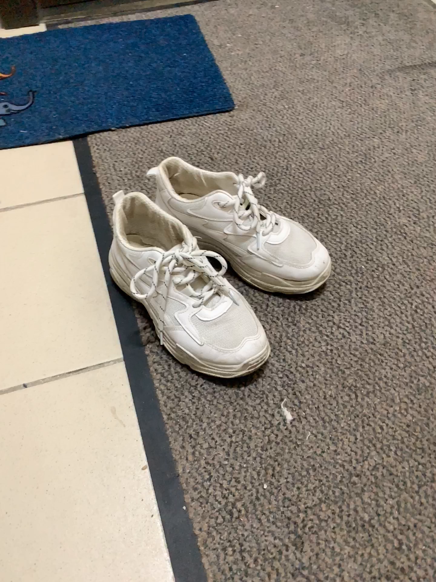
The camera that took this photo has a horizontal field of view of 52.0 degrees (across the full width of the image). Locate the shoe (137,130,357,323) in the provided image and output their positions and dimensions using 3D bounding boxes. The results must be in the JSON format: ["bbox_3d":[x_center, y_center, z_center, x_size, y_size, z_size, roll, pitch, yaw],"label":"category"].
[{"bbox_3d":[0.032,-0.082,0.565,0.230,0.140,0.100,25,58,18],"label":"shoe"}]

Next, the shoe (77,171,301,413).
[{"bbox_3d":[-0.036,-0.003,0.507,0.100,0.140,0.231,-37,61,-23],"label":"shoe"}]
